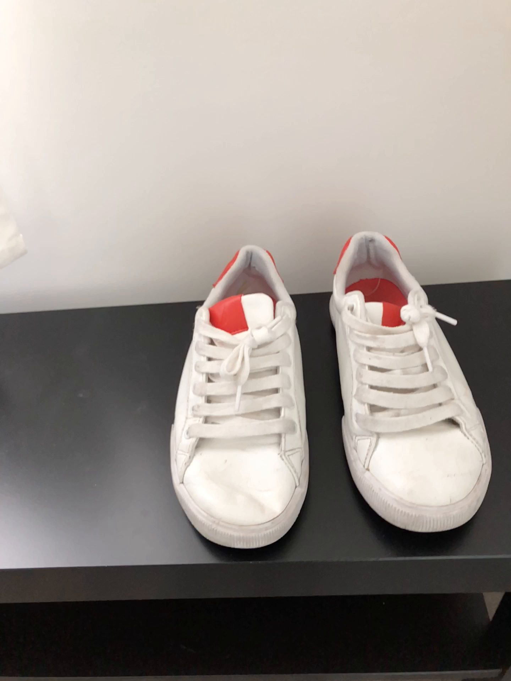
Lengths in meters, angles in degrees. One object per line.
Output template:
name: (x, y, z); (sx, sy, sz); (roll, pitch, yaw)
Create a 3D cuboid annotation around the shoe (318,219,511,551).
shoe: (0.104, 0.015, 0.393); (0.100, 0.080, 0.231); (-4, 42, 3)

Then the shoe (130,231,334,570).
shoe: (-0.009, 0.025, 0.395); (0.102, 0.080, 0.236); (-4, 42, 3)
